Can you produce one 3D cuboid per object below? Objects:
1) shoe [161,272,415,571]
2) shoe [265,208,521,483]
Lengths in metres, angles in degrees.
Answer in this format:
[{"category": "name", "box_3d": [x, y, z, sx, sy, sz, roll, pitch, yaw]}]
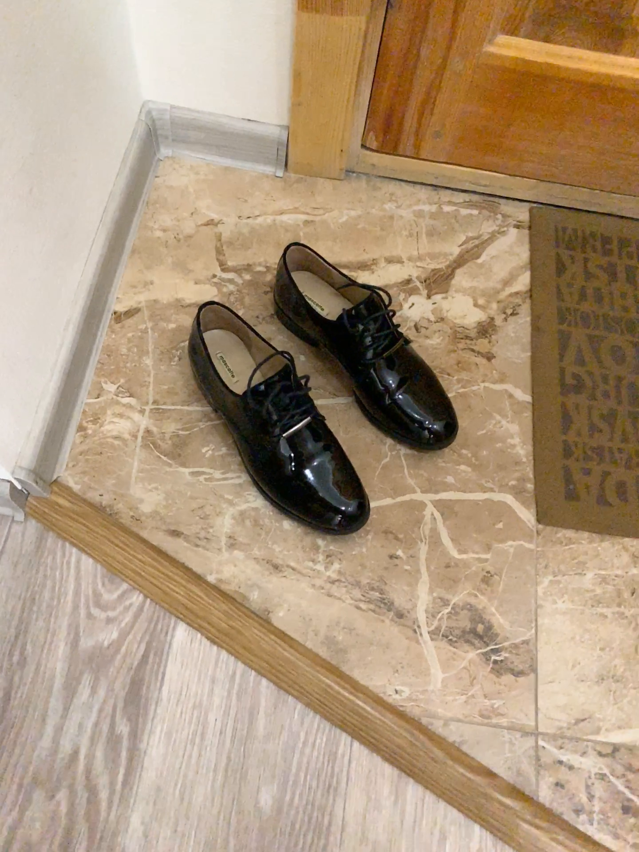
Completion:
[{"category": "shoe", "box_3d": [-0.034, -0.003, 0.576, 0.086, 0.110, 0.230, -33, 72, -18]}, {"category": "shoe", "box_3d": [0.057, -0.076, 0.622, 0.090, 0.110, 0.230, -38, 74, -20]}]
